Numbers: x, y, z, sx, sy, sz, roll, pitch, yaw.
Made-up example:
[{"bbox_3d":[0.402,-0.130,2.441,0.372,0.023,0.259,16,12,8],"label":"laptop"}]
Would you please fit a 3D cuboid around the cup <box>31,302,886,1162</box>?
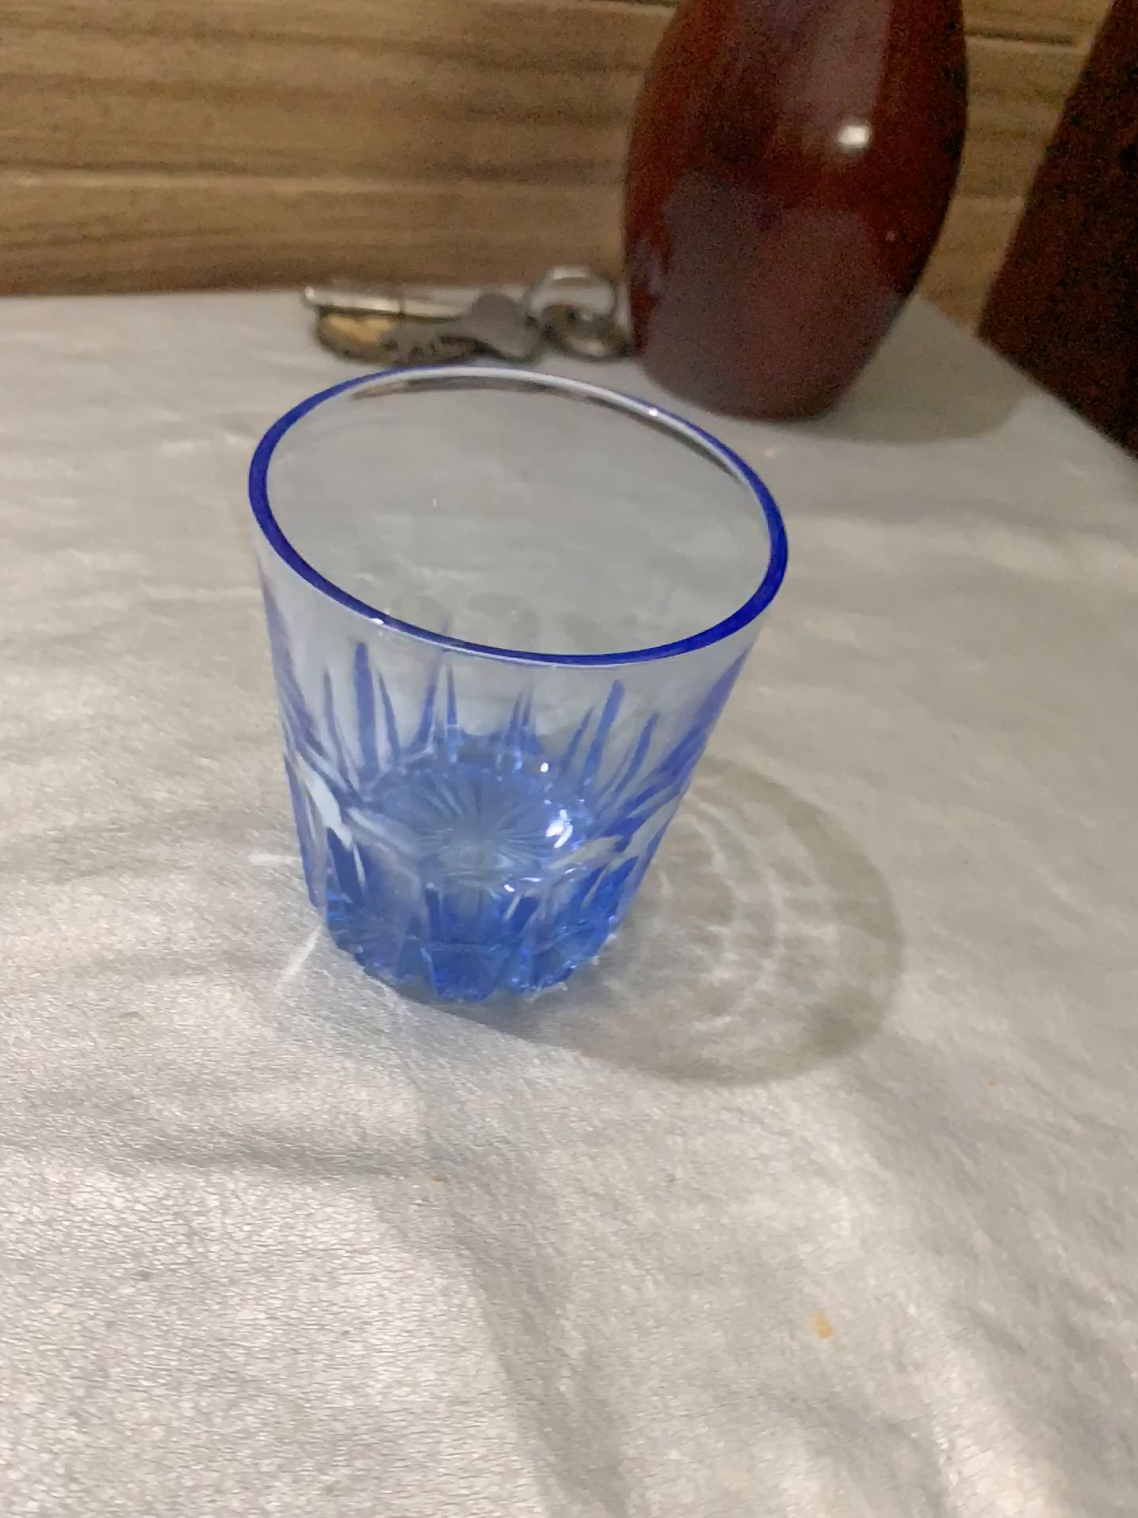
[{"bbox_3d":[-0.011,-0.009,0.188,0.090,0.070,0.090,7,44,-7],"label":"cup"}]
